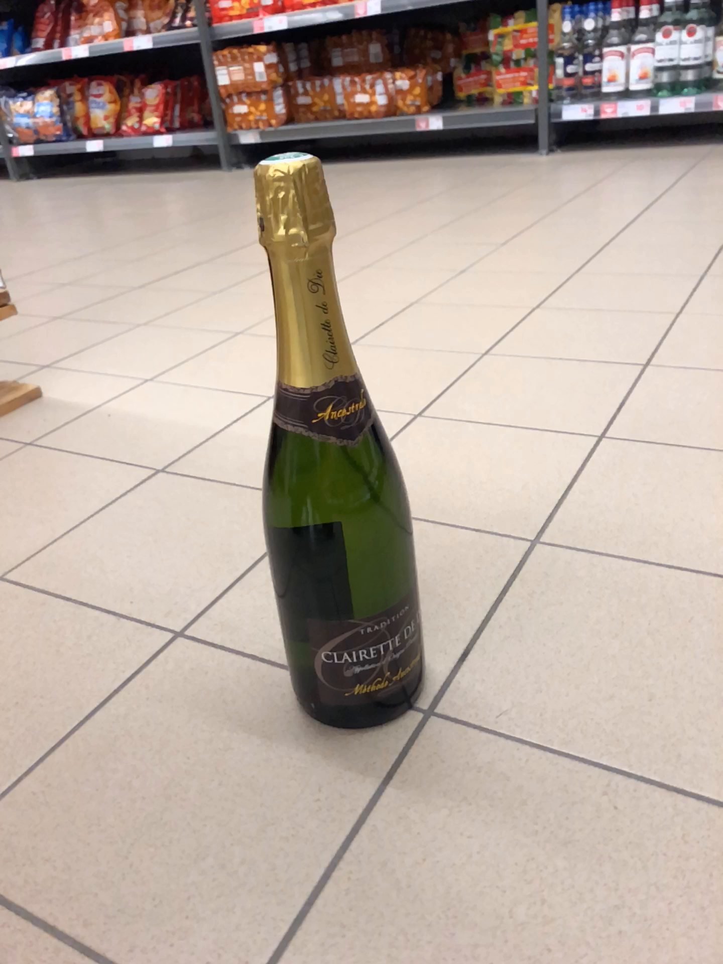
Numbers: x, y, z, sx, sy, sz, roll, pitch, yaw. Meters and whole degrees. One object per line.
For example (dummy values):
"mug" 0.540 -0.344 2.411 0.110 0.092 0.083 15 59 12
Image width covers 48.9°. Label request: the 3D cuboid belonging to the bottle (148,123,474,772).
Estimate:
"bottle" -0.017 -0.013 0.428 0.100 0.318 0.100 -6 27 3
